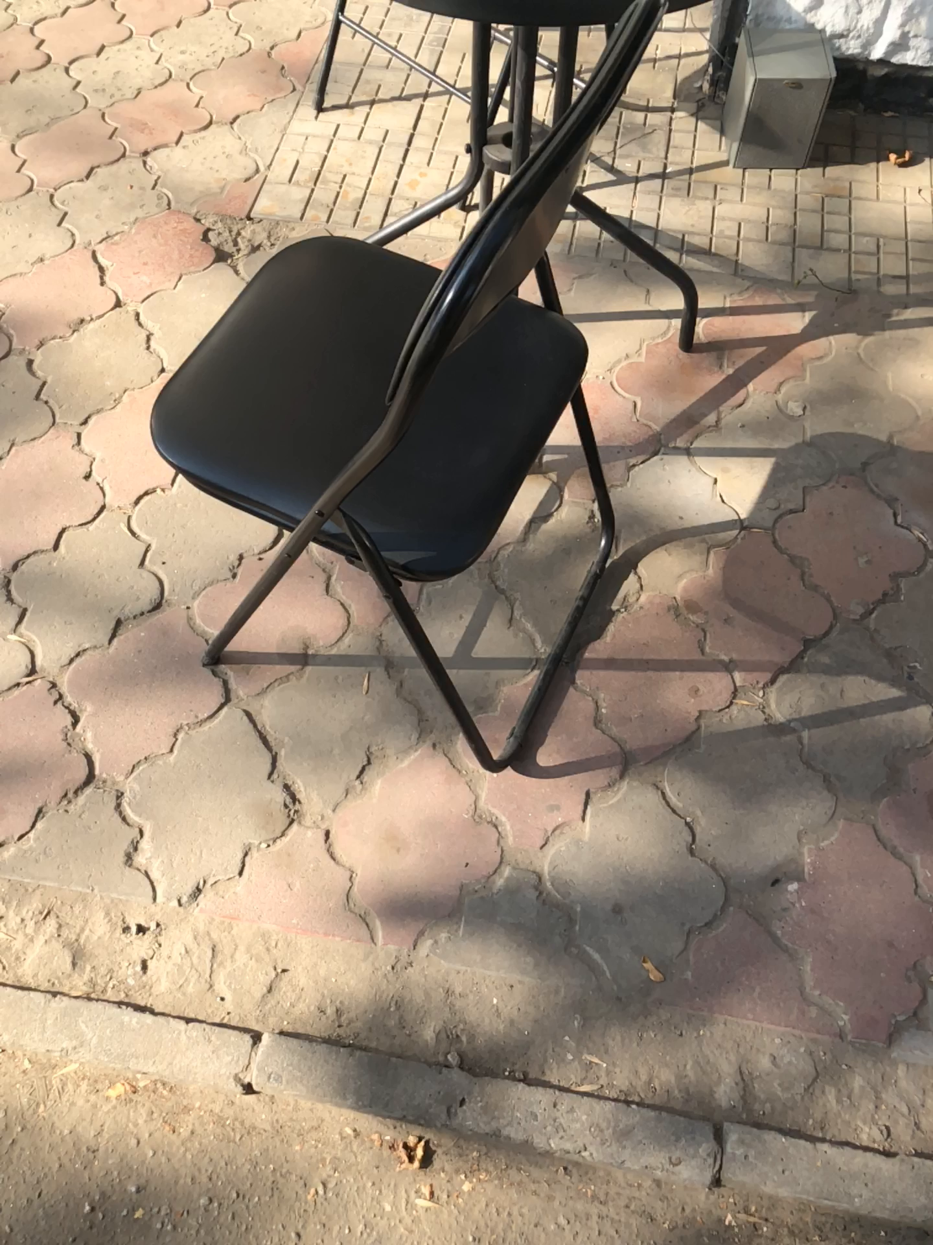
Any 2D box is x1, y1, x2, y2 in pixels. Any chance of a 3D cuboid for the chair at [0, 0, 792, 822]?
[{"bbox_3d":[-0.065,-0.241,1.050,0.500,0.638,0.531,21,60,12],"label":"chair"}]
